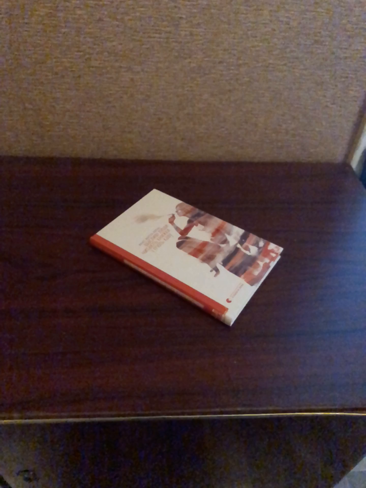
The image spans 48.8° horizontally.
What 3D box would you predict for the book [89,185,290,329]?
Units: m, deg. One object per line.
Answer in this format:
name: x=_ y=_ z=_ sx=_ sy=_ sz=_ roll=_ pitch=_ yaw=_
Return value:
book: x=0.010 y=0.003 z=0.552 sx=0.228 sy=0.020 sz=0.151 roll=26 pitch=47 yaw=22
